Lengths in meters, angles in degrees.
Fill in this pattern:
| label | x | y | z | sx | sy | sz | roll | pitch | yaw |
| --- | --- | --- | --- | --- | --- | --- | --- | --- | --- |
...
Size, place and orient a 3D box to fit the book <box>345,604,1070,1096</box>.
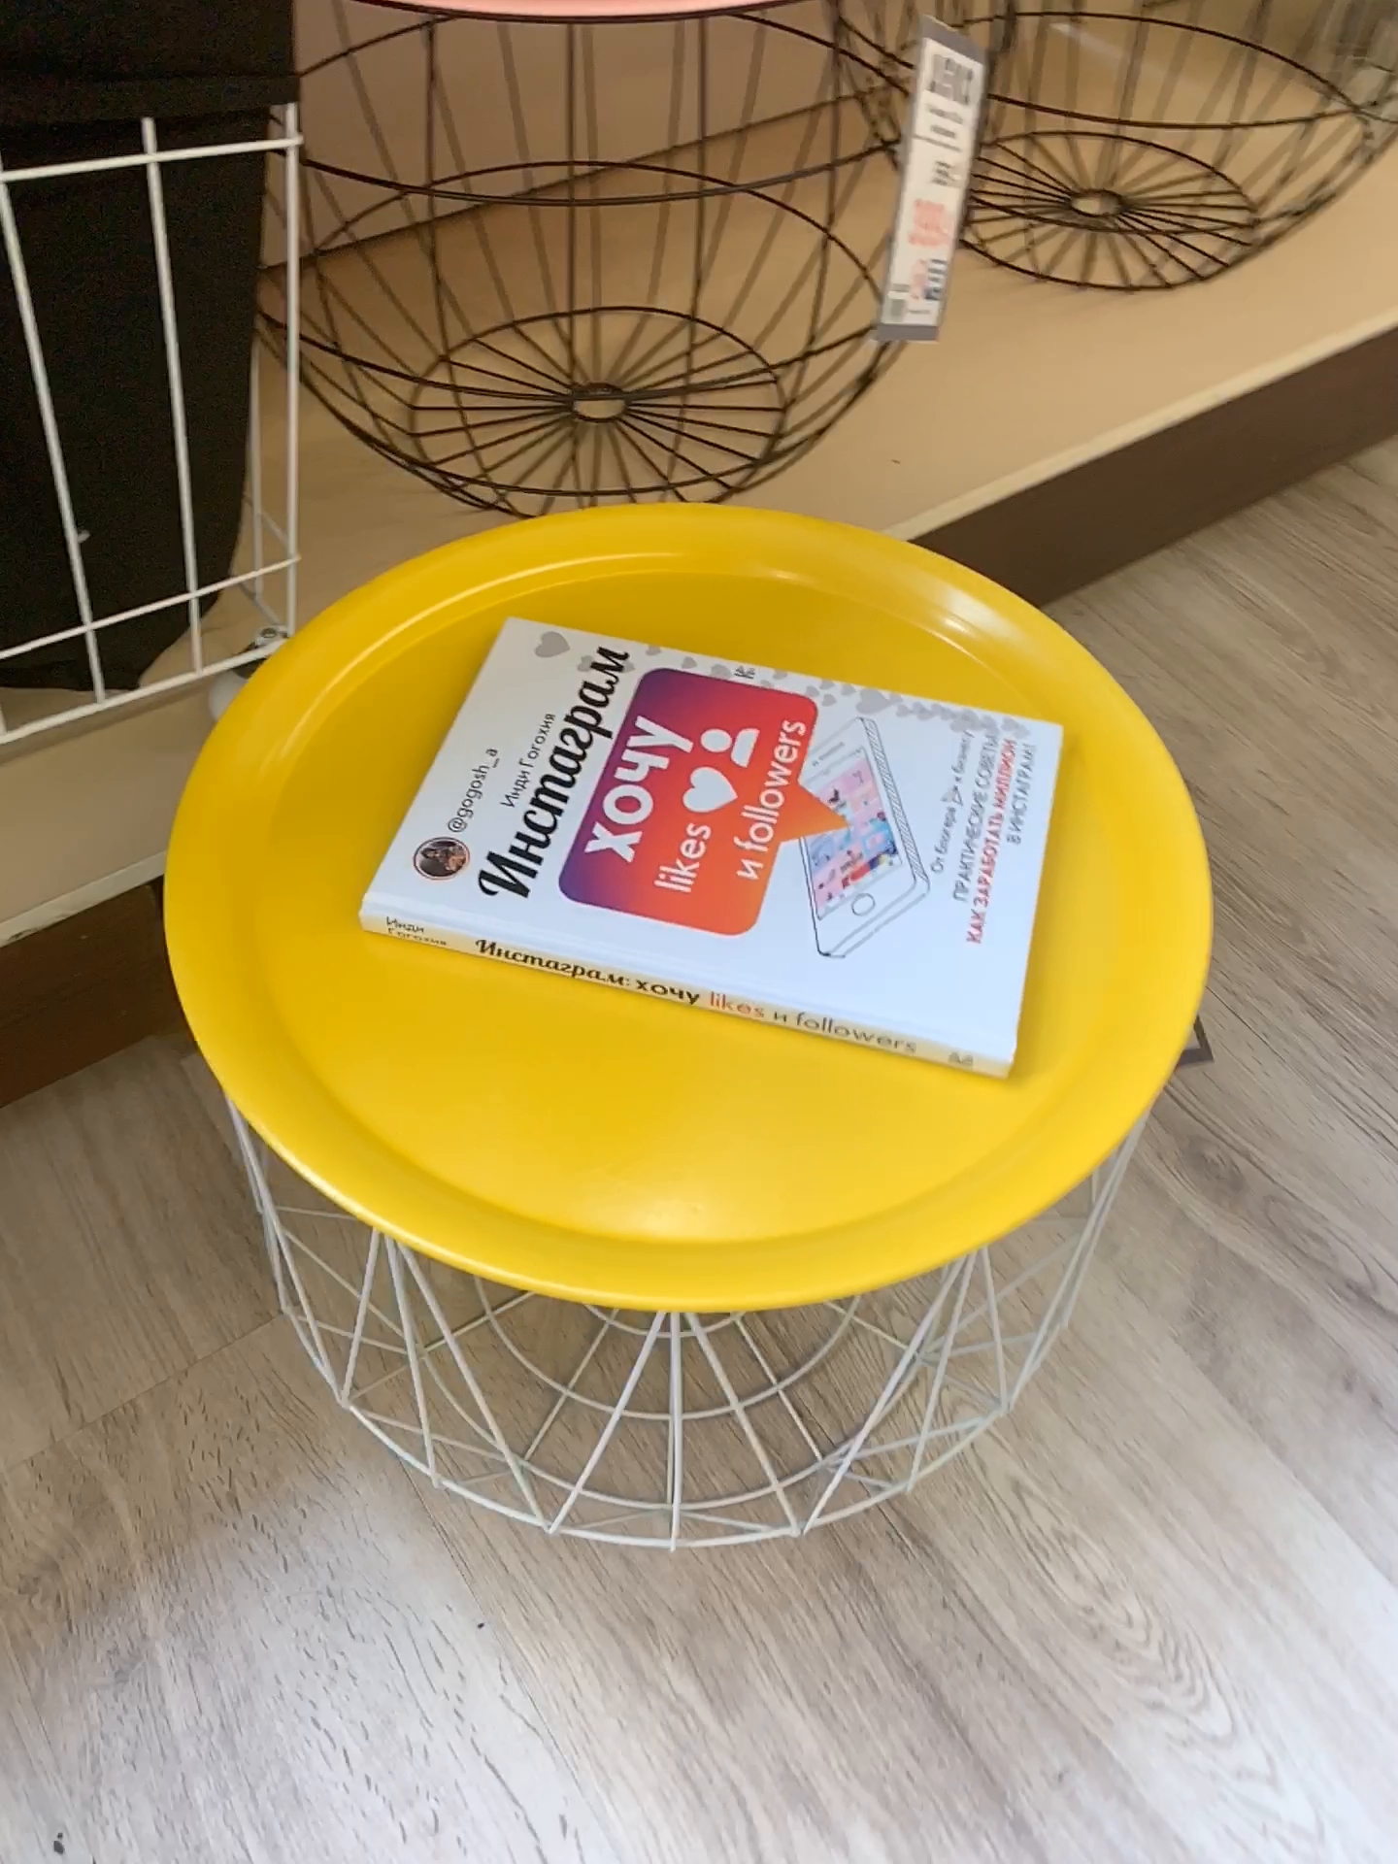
| label | x | y | z | sx | sy | sz | roll | pitch | yaw |
| --- | --- | --- | --- | --- | --- | --- | --- | --- | --- |
| book | 0.012 | -0.041 | 0.546 | 0.240 | 0.020 | 0.170 | 12 | 54 | 7 |
